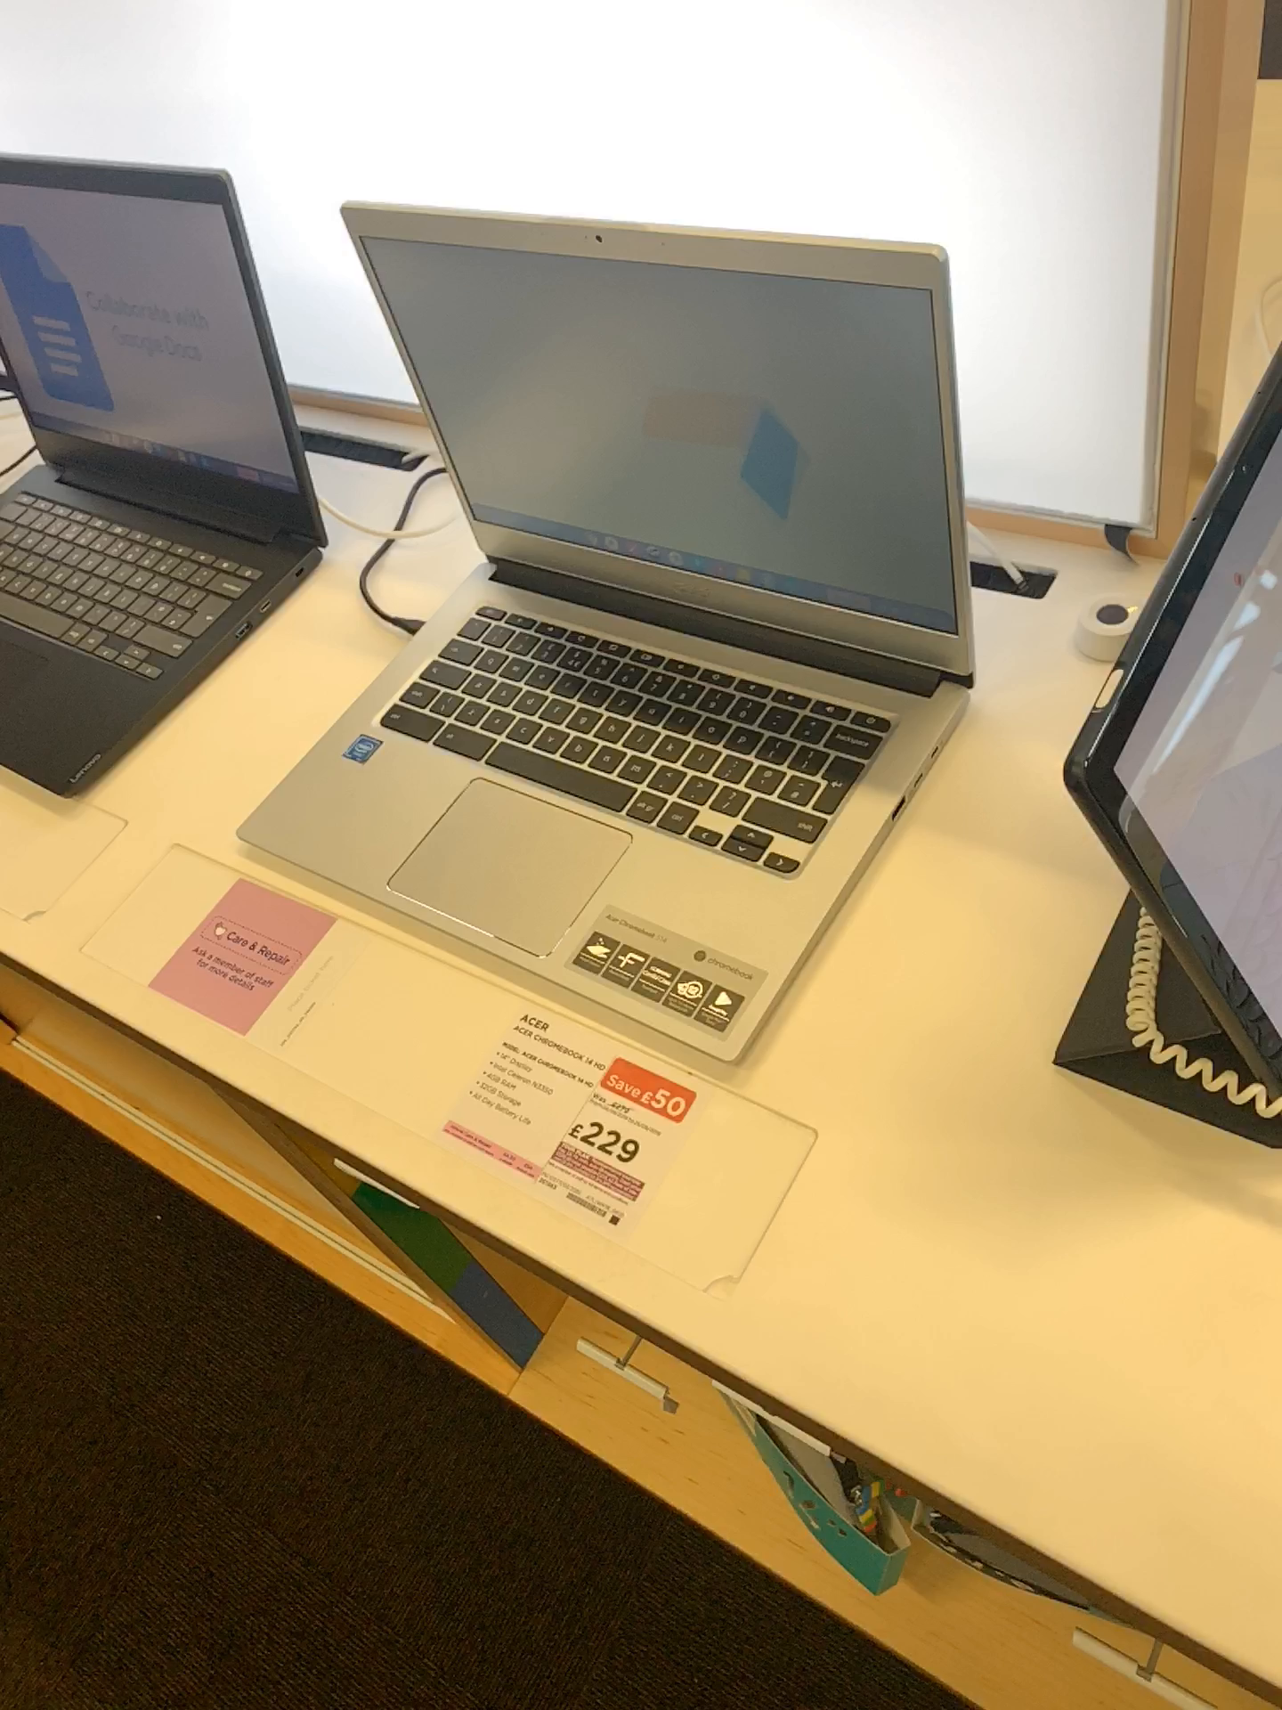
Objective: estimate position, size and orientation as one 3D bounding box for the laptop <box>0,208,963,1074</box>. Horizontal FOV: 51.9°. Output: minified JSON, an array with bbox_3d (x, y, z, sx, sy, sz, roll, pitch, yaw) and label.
[{"bbox_3d":[-0.057,-0.110,0.574,0.304,0.207,0.237,20,60,30],"label":"laptop"}]

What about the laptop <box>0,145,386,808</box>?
[{"bbox_3d":[-0.395,-0.242,0.798,0.309,0.204,0.283,23,64,31],"label":"laptop"}]
